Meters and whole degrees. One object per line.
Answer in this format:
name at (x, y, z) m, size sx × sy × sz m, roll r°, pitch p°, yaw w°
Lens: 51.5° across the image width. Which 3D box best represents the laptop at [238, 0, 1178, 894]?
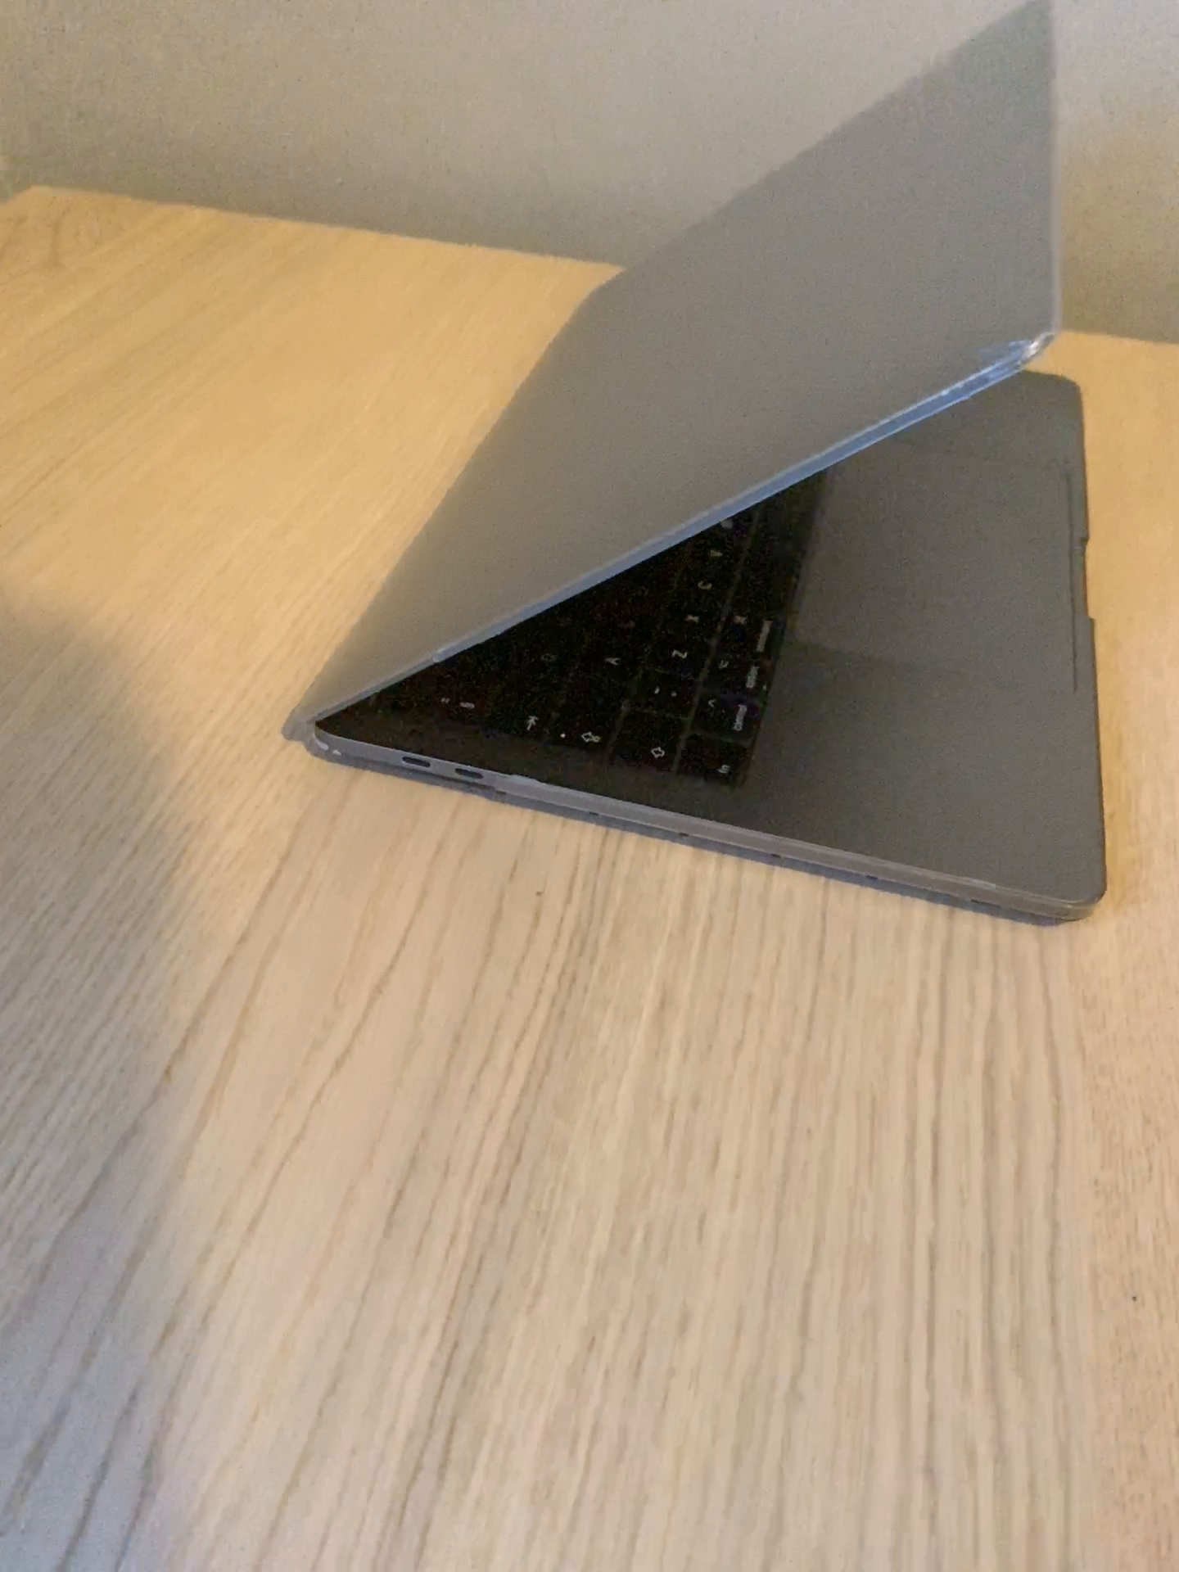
laptop at (0.064, -0.138, 0.367) m, size 0.204 × 0.130 × 0.291 m, roll 11°, pitch 44°, yaw 10°
